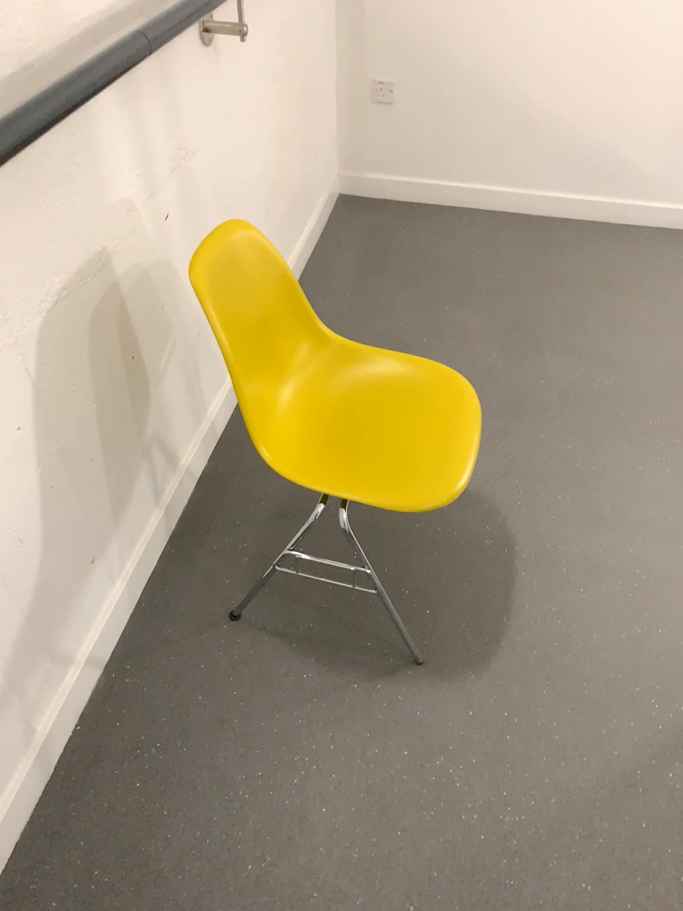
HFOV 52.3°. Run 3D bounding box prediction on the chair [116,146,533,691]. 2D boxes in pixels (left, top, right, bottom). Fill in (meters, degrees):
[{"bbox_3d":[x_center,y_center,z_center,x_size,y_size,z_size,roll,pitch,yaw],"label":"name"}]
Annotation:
[{"bbox_3d":[0.027,-0.064,1.413,0.540,0.822,0.636,9,46,9],"label":"chair"}]
